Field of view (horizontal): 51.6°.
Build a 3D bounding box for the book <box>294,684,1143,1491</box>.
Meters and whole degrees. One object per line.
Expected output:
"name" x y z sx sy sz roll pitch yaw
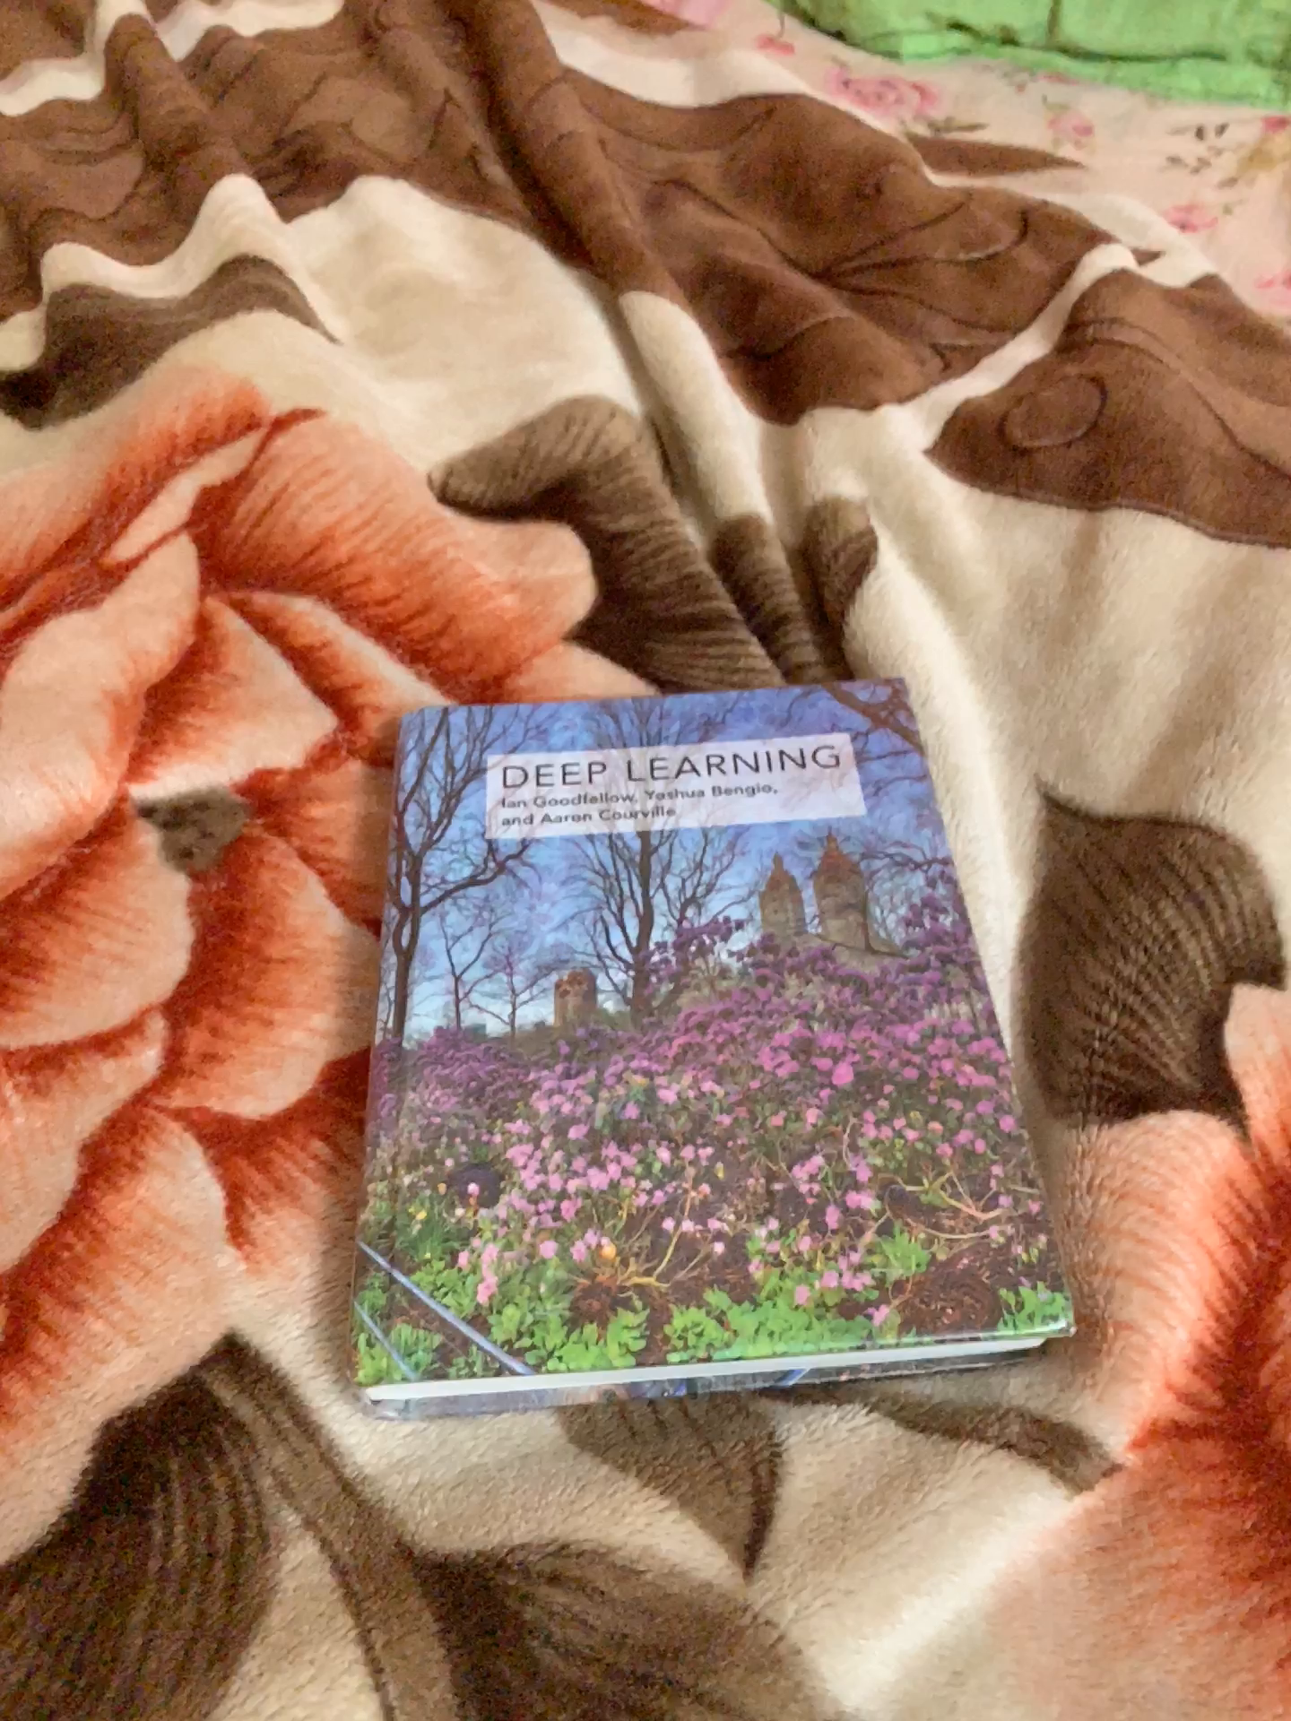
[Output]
"book" 0.011 0.049 0.424 0.210 0.030 0.262 -3 51 -3
